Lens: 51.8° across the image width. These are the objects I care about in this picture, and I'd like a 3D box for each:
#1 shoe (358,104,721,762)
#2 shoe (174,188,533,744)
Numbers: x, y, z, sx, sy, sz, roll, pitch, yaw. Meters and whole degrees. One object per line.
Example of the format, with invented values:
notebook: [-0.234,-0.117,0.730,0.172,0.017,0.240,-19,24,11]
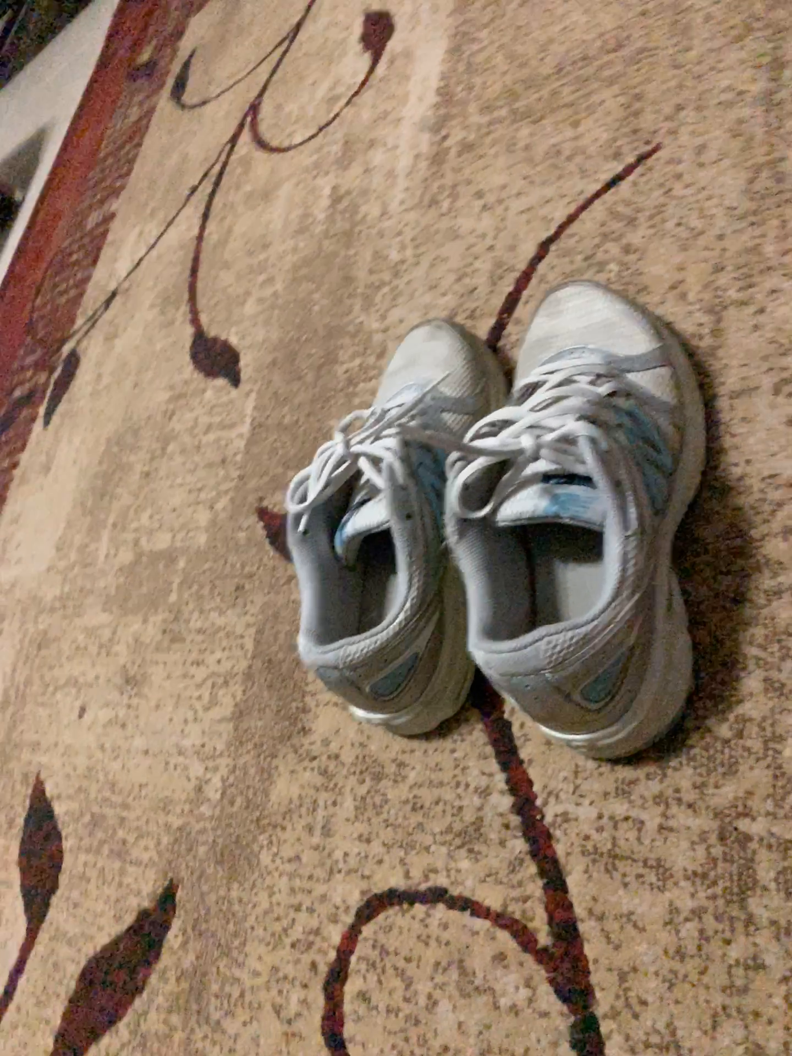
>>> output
shoe: [0.080,-0.042,0.403,0.104,0.124,0.283,-13,58,37]
shoe: [-0.011,-0.031,0.479,0.111,0.124,0.283,-10,60,38]
